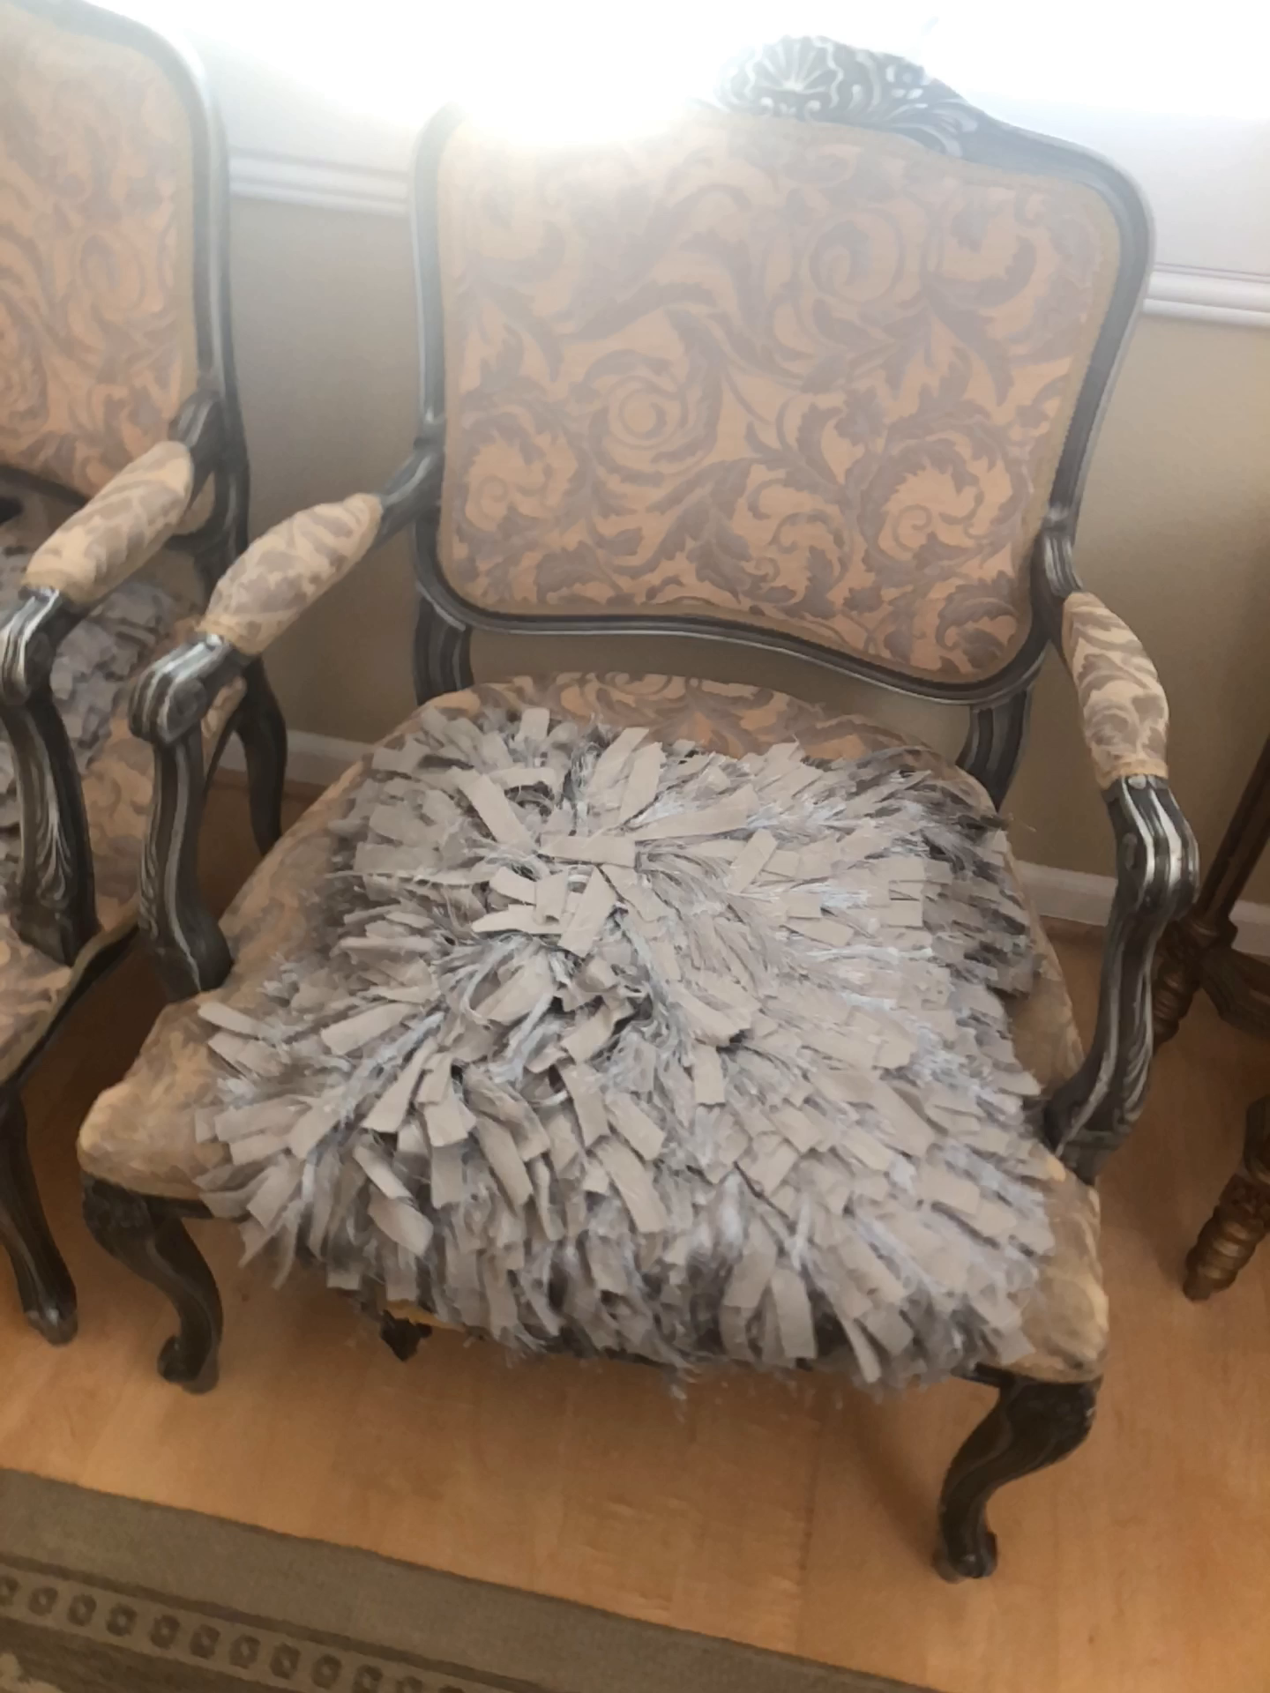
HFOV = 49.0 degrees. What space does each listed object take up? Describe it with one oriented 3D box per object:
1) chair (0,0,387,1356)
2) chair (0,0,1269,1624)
[{"bbox_3d":[-0.690,-0.189,1.145,0.690,0.952,0.605,15,45,12],"label":"chair"},{"bbox_3d":[0.055,-0.053,1.067,0.740,0.853,0.787,10,44,6],"label":"chair"}]
